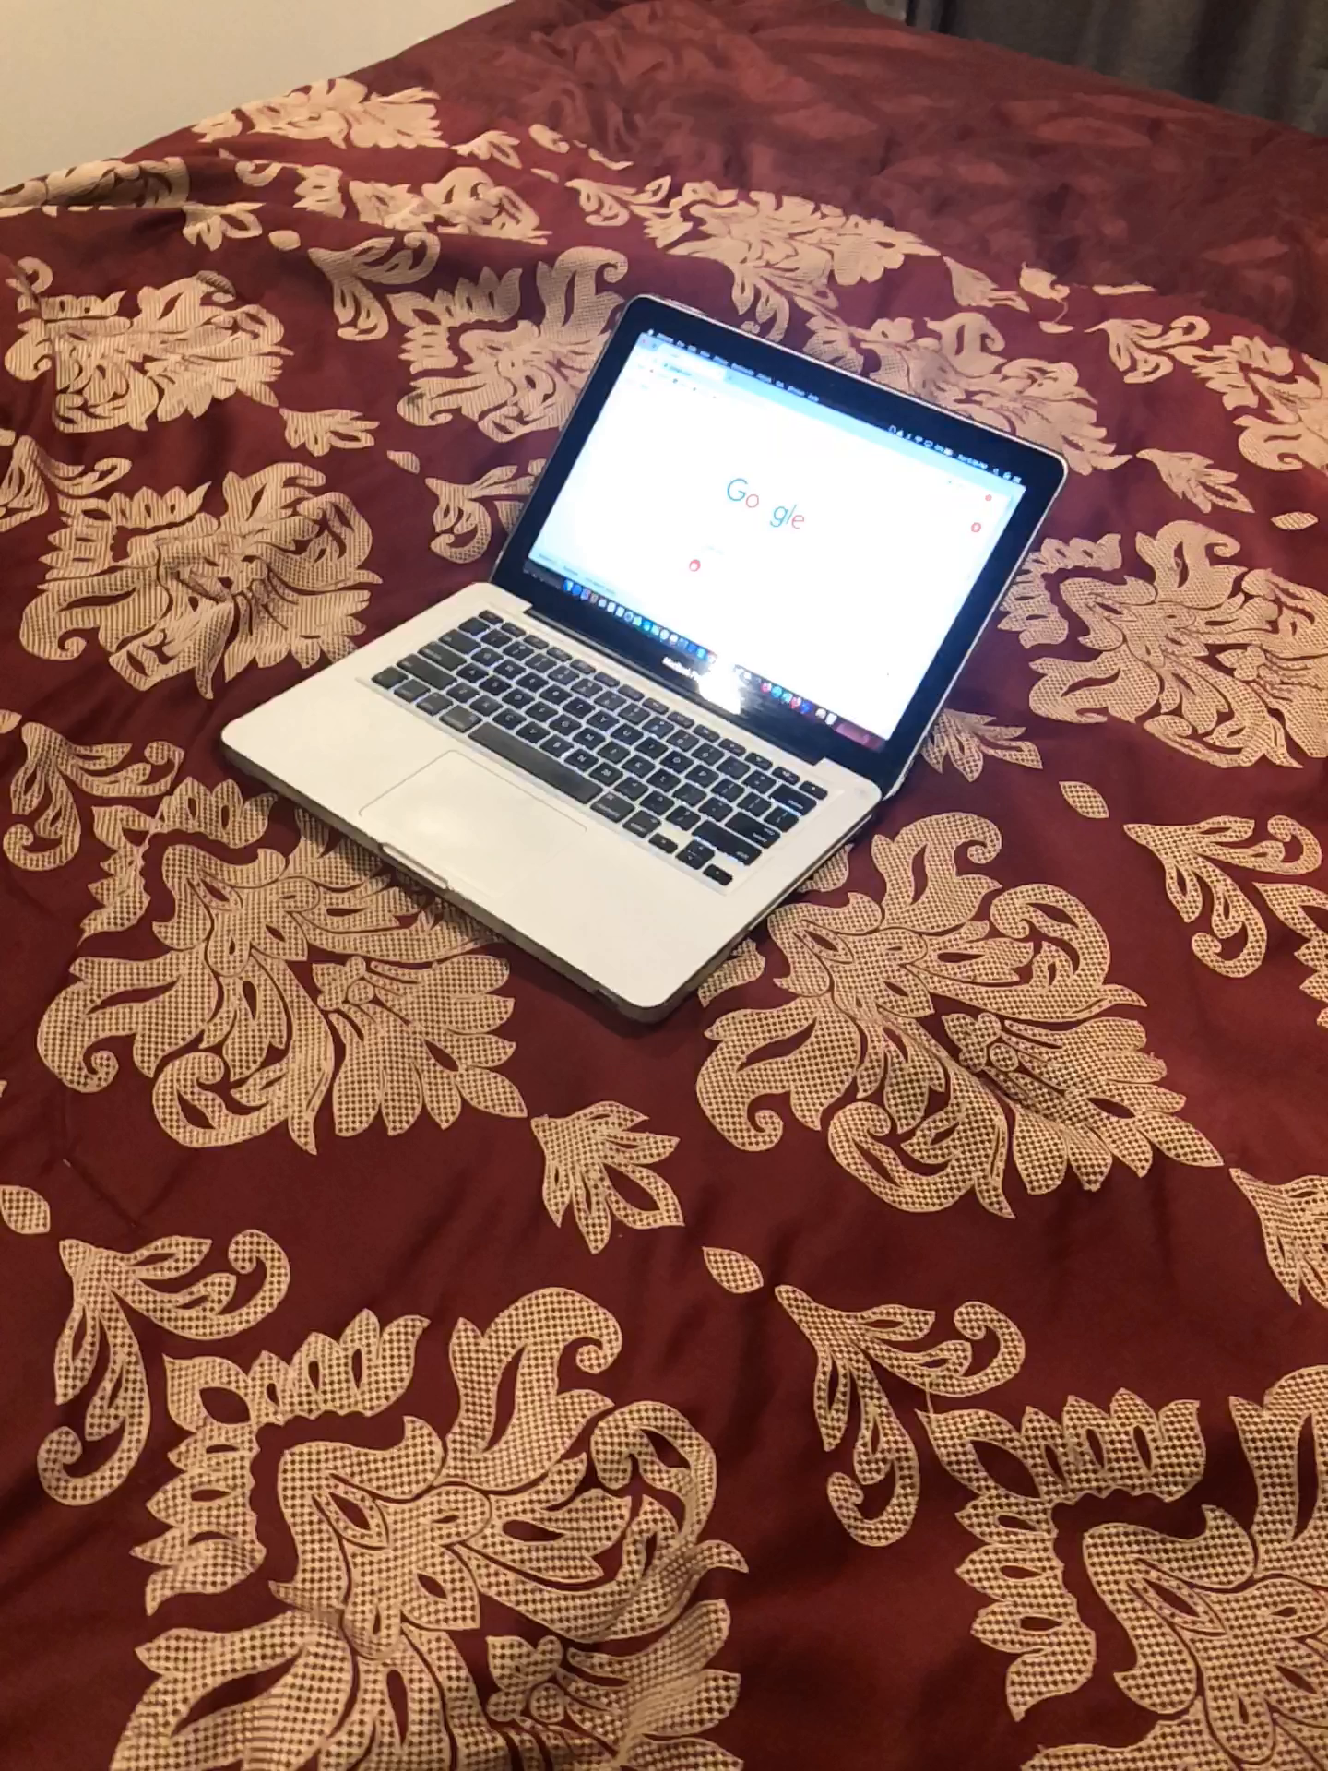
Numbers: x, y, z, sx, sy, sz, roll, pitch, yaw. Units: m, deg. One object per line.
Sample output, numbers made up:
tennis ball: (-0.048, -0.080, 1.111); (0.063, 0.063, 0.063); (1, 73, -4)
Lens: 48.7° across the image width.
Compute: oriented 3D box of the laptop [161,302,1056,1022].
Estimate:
laptop: (-0.016, -0.145, 0.773); (0.293, 0.133, 0.343); (31, 50, 24)
